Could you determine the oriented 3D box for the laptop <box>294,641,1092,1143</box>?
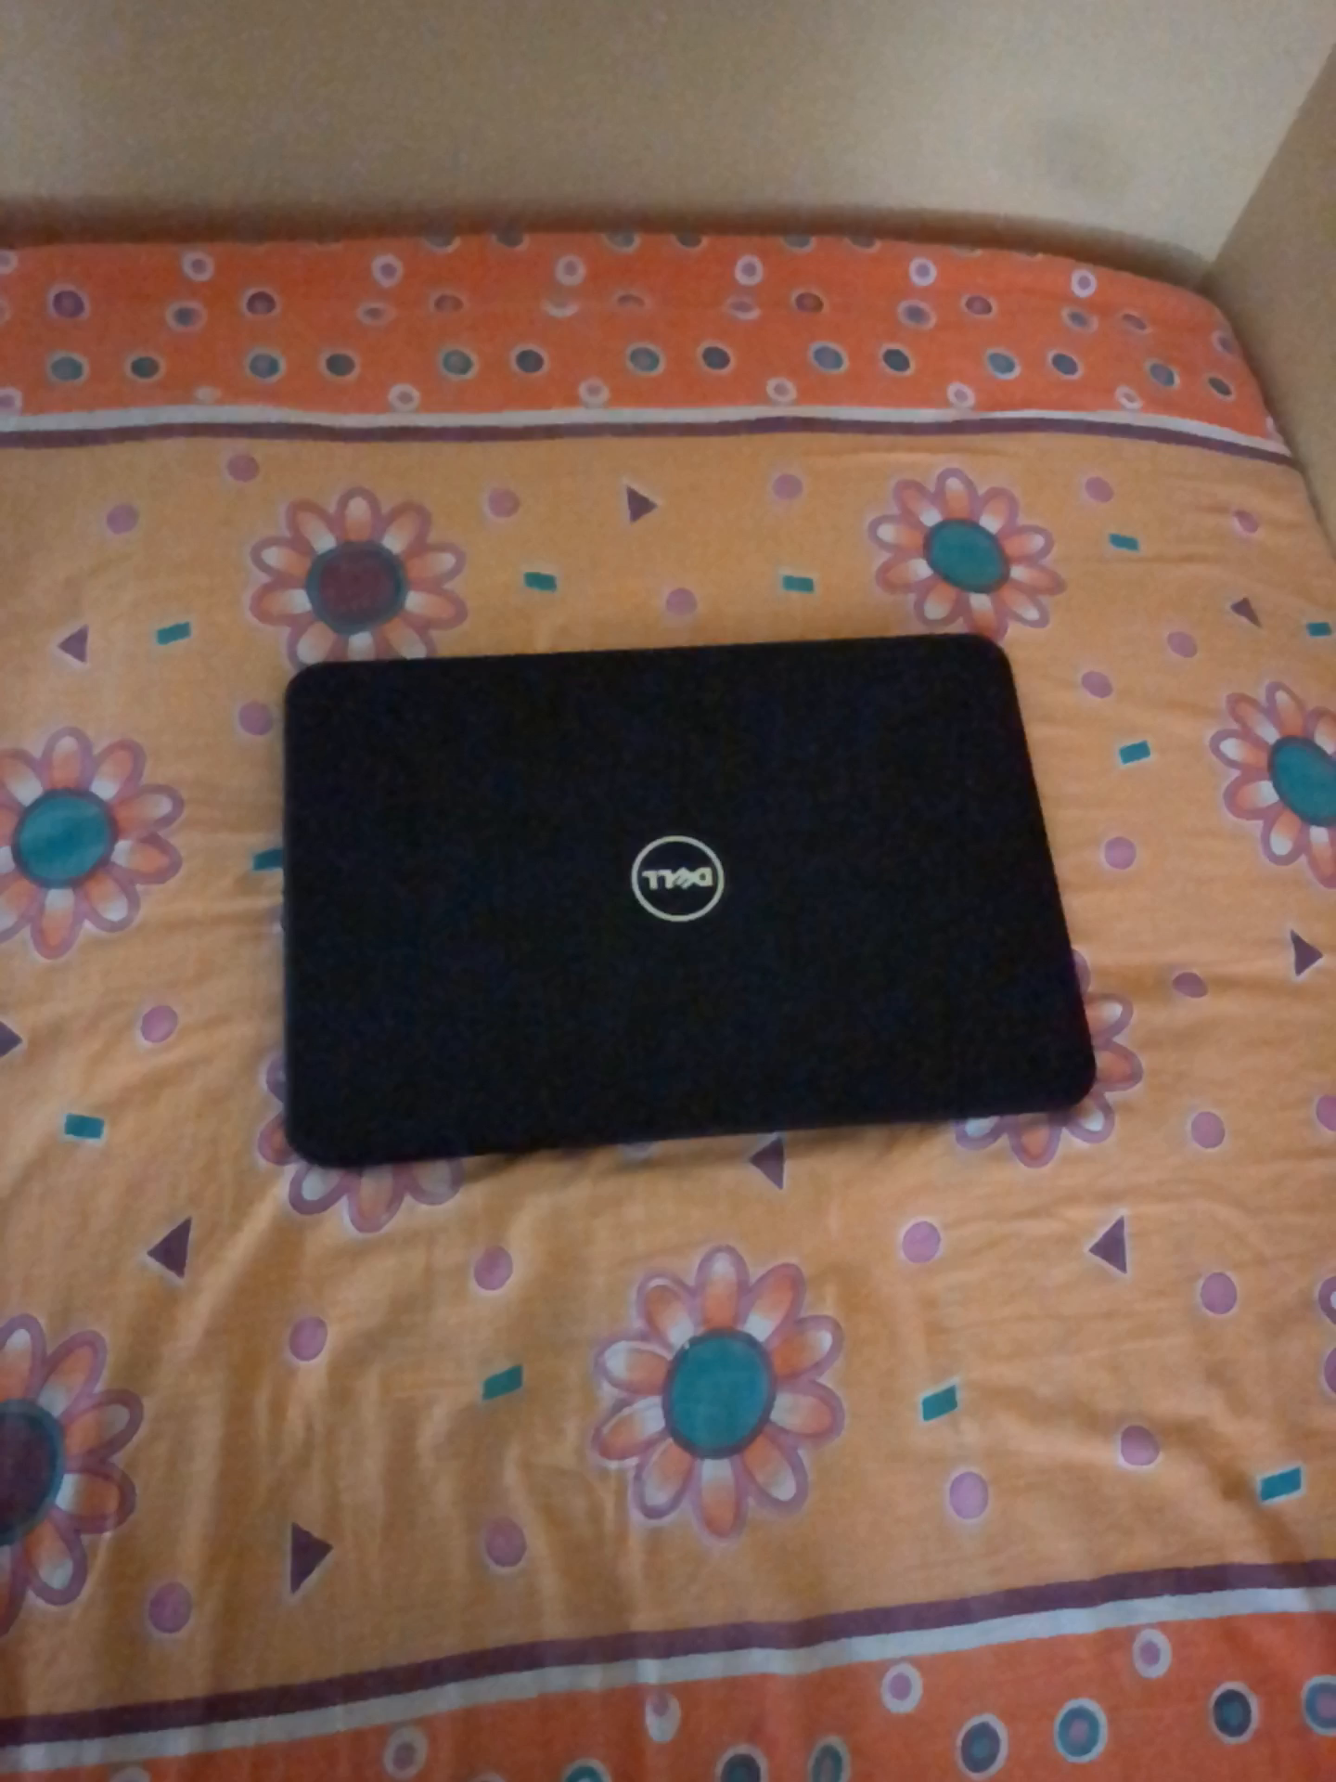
[{"bbox_3d":[0.006,-0.010,0.711,0.358,0.001,0.236,-4,69,-6],"label":"laptop"}]
